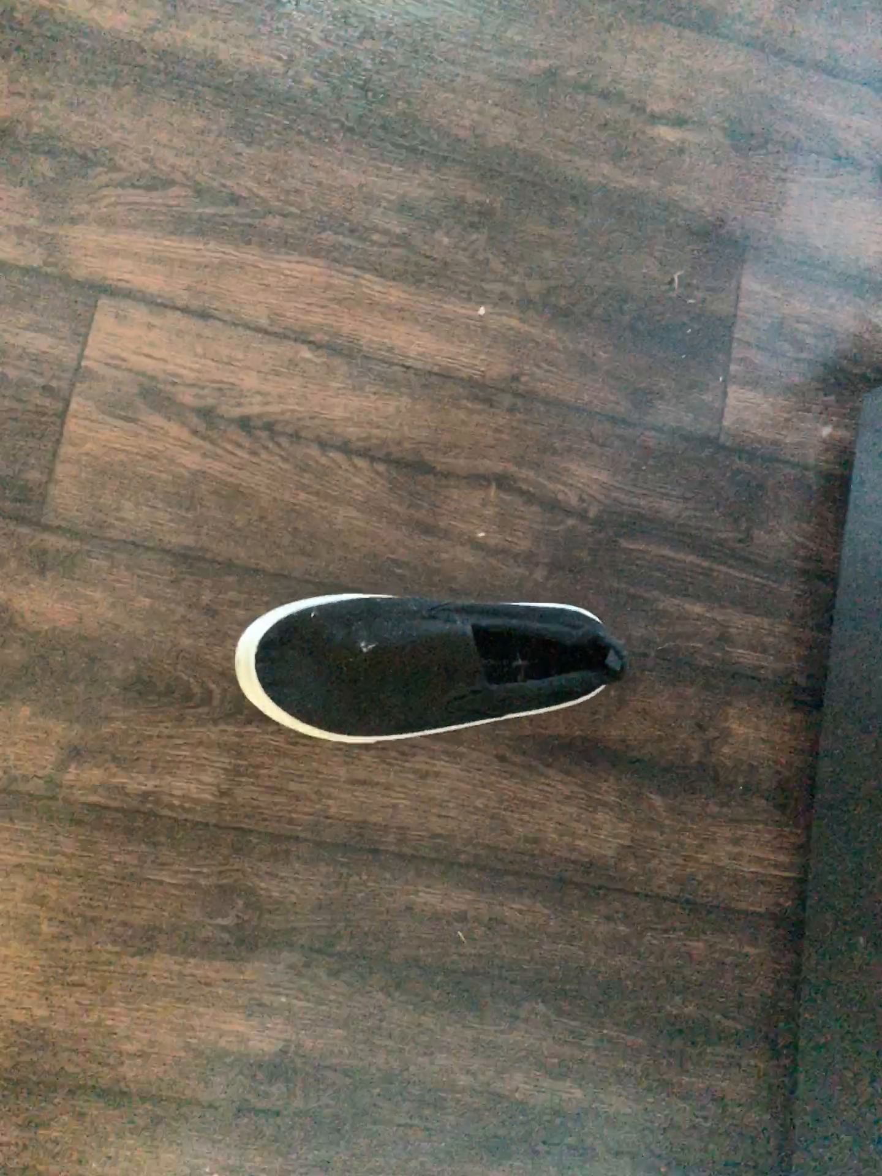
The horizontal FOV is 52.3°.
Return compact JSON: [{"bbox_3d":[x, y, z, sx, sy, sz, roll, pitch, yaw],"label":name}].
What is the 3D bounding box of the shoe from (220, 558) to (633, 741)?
[{"bbox_3d":[-0.010,0.041,0.556,0.238,0.080,0.100,2,83,-10],"label":"shoe"}]
